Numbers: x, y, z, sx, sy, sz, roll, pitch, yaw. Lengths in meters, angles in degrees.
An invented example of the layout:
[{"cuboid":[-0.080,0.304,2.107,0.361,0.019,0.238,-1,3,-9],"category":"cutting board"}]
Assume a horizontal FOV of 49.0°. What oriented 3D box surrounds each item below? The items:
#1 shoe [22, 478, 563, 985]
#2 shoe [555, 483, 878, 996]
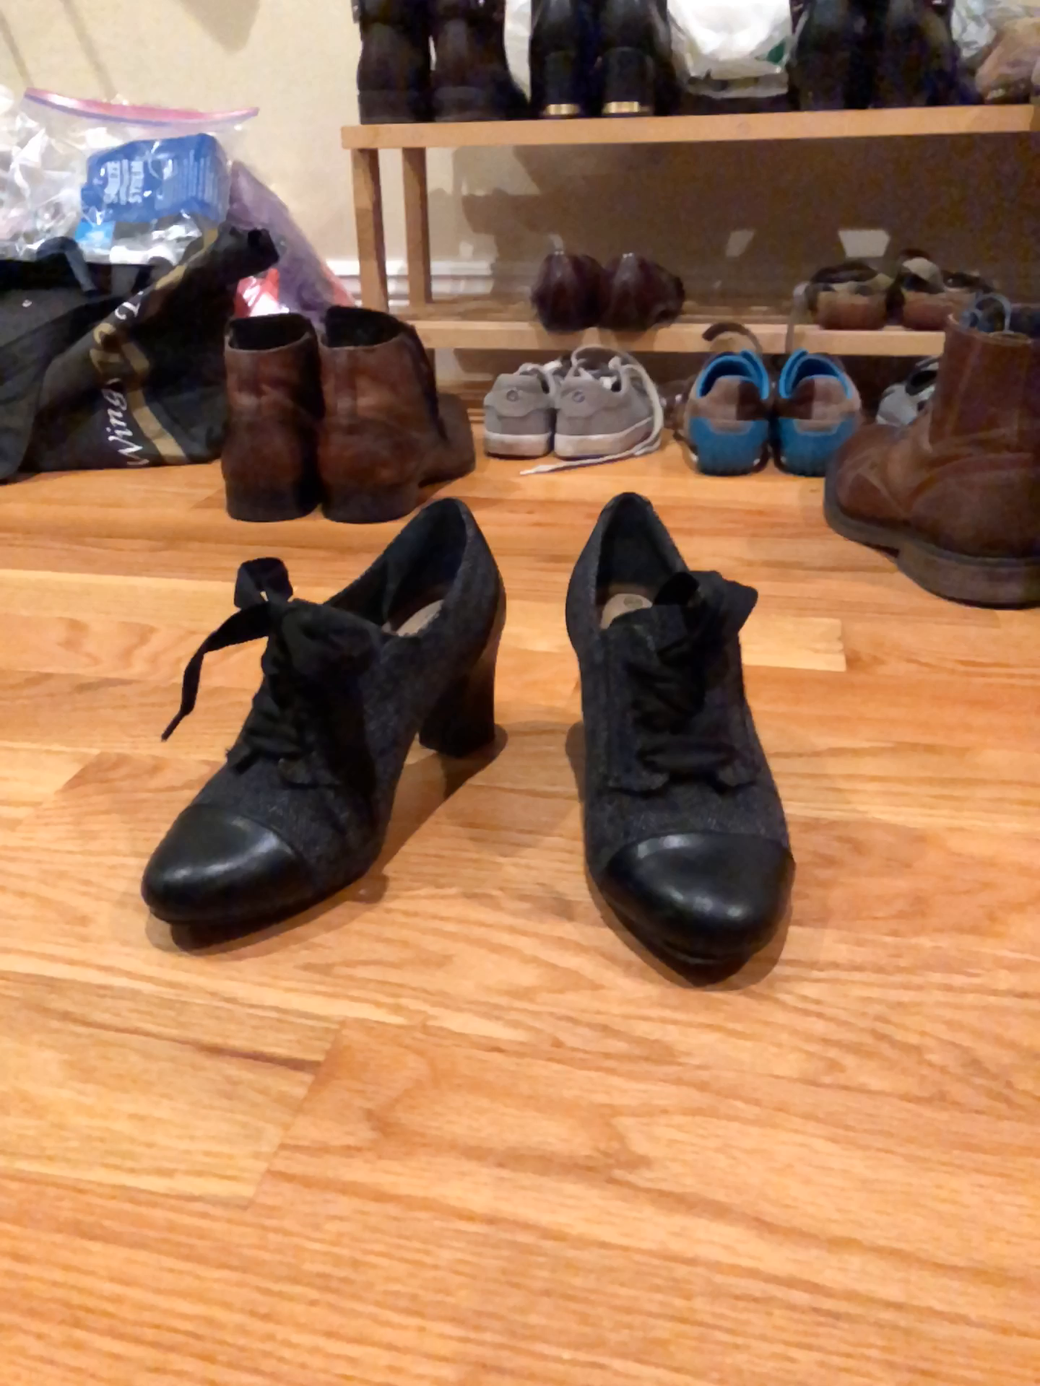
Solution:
[{"cuboid":[-0.078,-0.001,0.498,0.093,0.125,0.224,14,29,30],"category":"shoe"},{"cuboid":[0.065,0.003,0.484,0.088,0.125,0.224,-2,25,-1],"category":"shoe"}]
